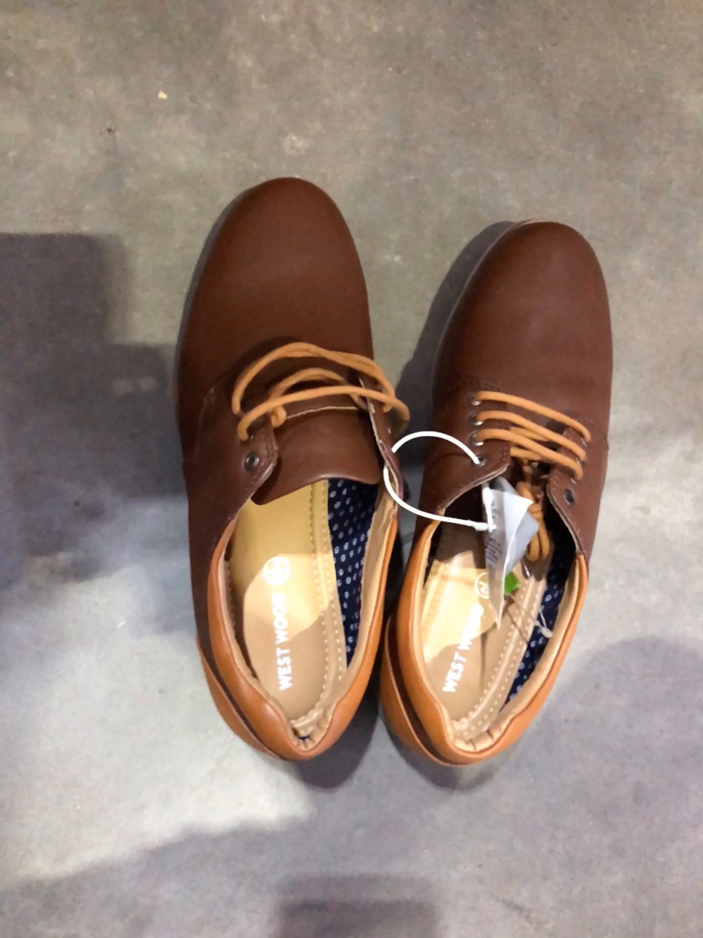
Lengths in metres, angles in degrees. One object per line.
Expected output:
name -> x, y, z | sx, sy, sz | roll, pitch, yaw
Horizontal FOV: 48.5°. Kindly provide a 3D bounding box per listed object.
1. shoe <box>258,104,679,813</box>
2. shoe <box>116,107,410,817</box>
shoe -> 0.056, -0.006, 0.425 | 0.120, 0.130, 0.310 | 18, 80, -6
shoe -> -0.043, -0.004, 0.371 | 0.110, 0.120, 0.280 | 0, 82, -9
